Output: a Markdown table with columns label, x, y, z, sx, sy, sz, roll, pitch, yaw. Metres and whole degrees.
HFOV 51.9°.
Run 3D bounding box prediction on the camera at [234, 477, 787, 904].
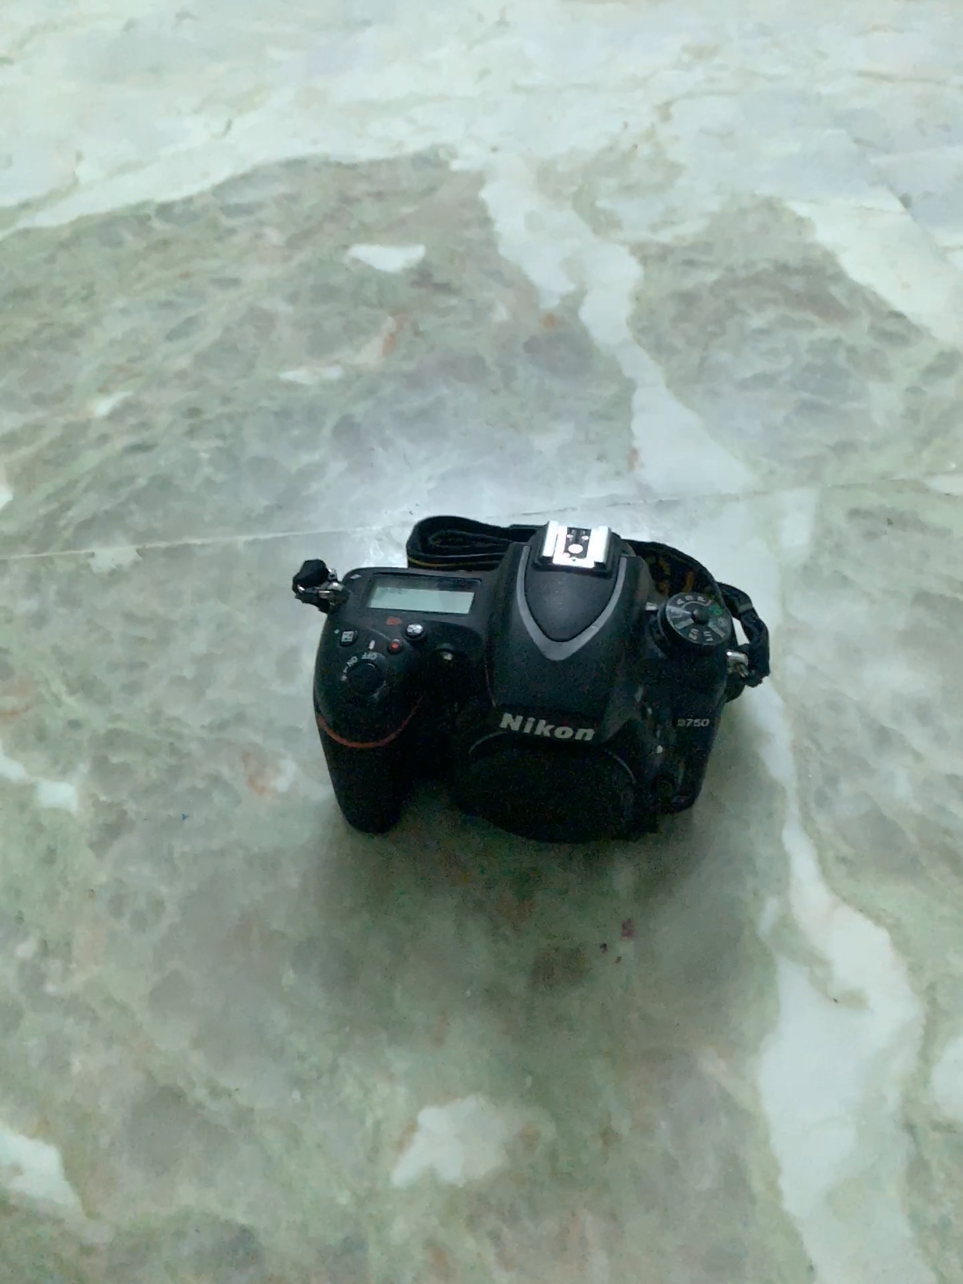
| label | x | y | z | sx | sy | sz | roll | pitch | yaw |
| --- | --- | --- | --- | --- | --- | --- | --- | --- | --- |
| camera | 0.013 | 0.017 | 0.329 | 0.150 | 0.100 | 0.080 | 7 | 50 | 7 |
